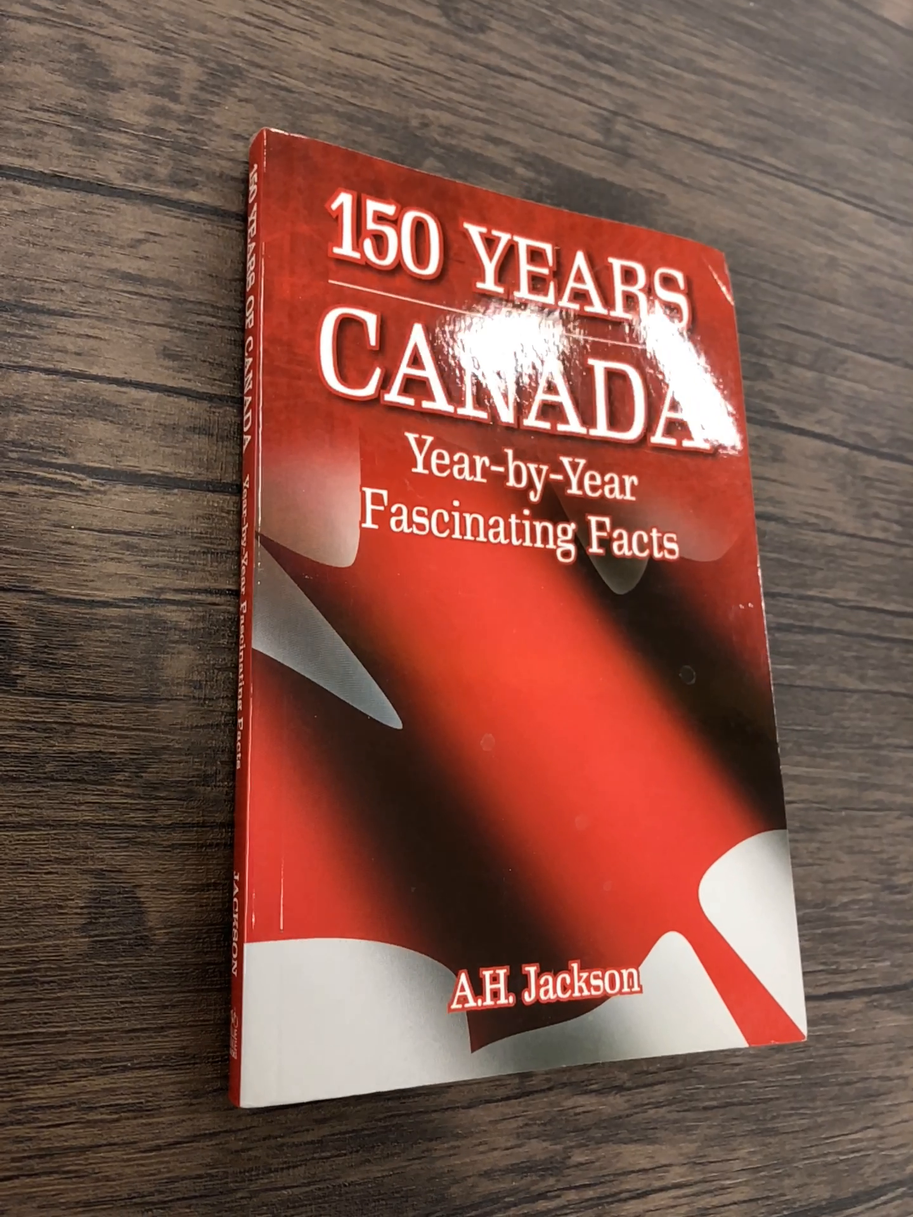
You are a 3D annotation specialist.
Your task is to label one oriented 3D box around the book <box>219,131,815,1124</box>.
[{"bbox_3d":[0.013,-0.001,0.243,0.130,0.025,0.206,3,77,-21],"label":"book"}]
